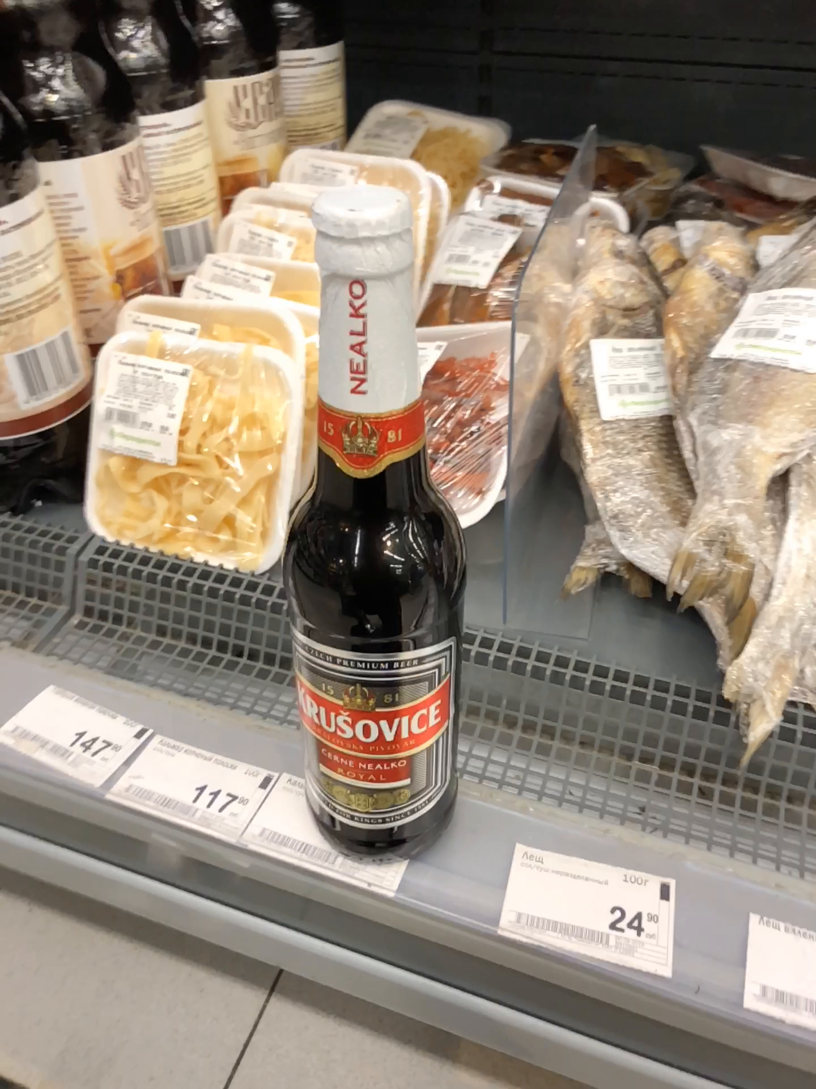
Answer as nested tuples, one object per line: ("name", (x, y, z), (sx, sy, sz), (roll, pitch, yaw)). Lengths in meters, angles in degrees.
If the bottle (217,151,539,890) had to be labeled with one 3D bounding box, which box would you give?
("bottle", (-0.004, 0.010, 0.328), (0.070, 0.268, 0.070), (0, 37, 0))
